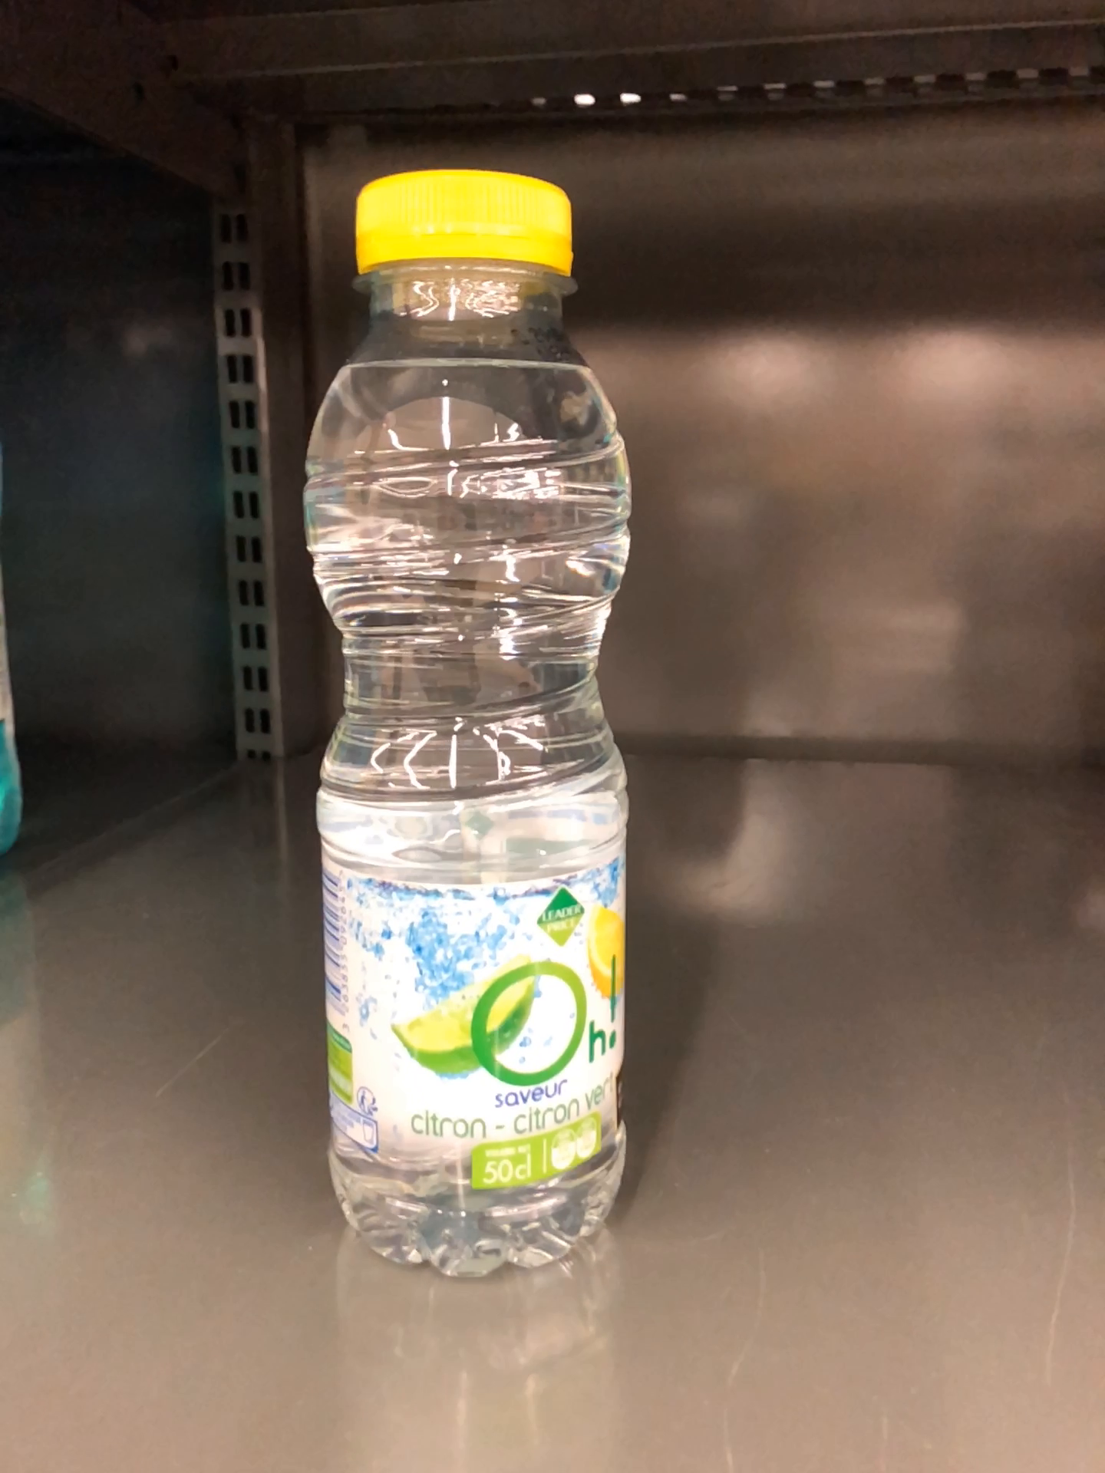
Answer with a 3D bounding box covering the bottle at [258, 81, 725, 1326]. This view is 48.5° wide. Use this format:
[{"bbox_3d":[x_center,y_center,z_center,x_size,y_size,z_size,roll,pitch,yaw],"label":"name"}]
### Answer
[{"bbox_3d":[-0.014,-0.004,0.245,0.070,0.209,0.060,-4,11,-22],"label":"bottle"}]
